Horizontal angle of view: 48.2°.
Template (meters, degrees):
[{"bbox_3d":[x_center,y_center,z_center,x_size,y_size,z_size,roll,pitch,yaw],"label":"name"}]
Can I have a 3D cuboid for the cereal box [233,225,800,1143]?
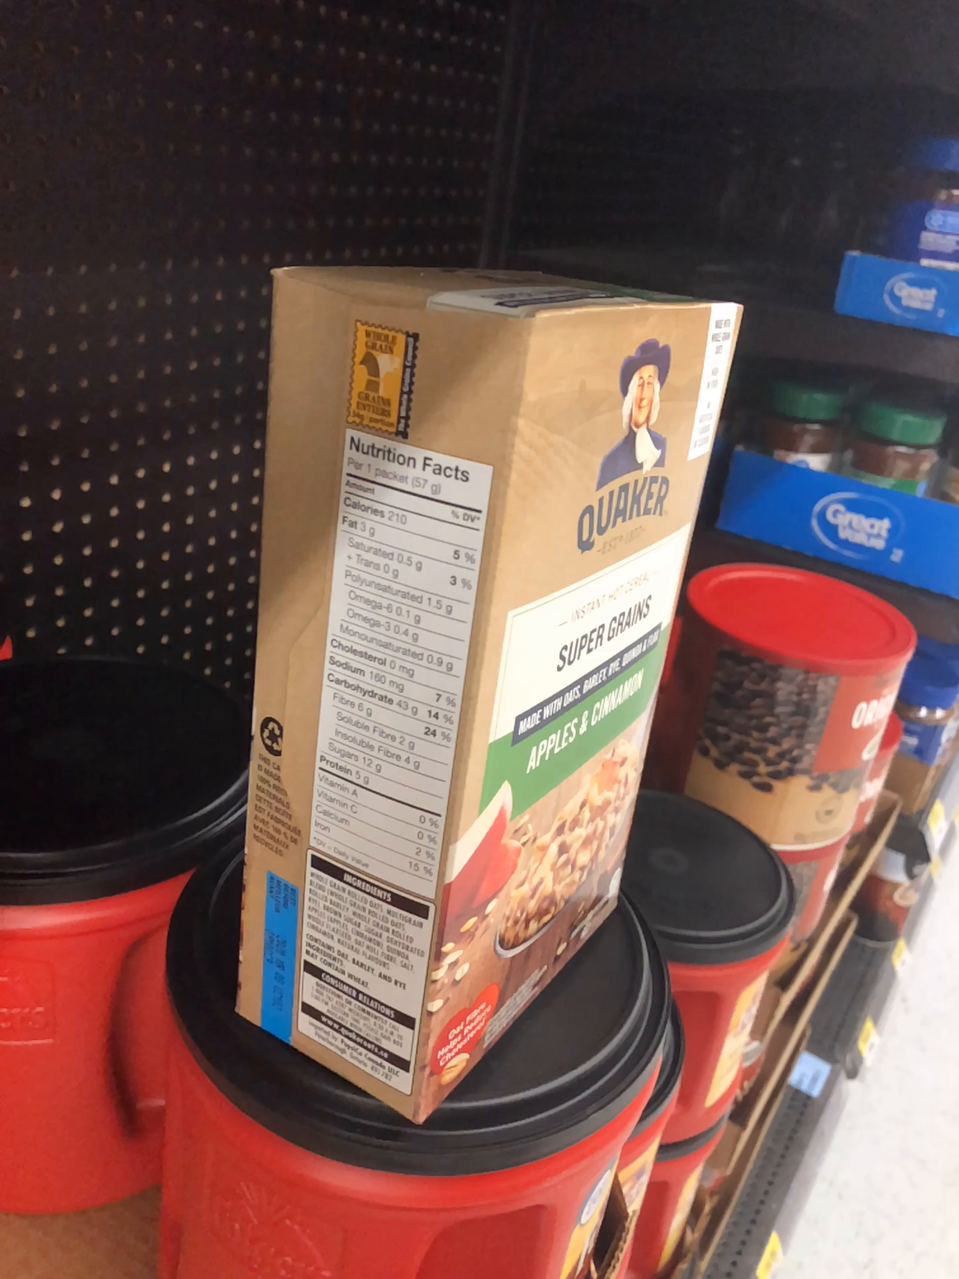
[{"bbox_3d":[0.010,0.001,0.286,0.060,0.199,0.140,21,27,27],"label":"cereal box"}]
